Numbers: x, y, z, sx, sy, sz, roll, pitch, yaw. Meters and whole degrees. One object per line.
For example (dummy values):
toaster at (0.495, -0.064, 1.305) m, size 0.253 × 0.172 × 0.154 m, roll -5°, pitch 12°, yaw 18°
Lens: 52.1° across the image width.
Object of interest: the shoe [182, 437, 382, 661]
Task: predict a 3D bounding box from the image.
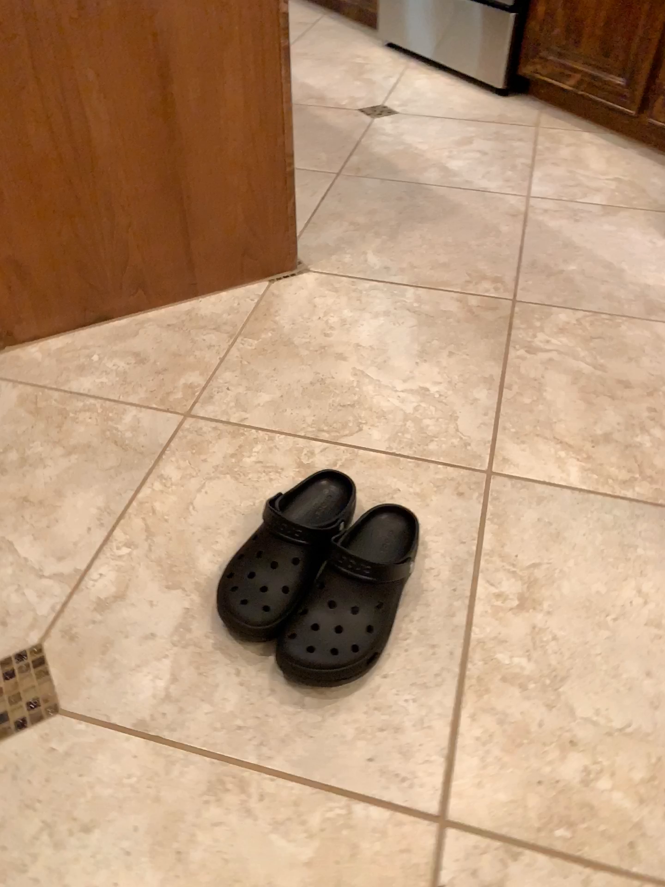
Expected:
shoe at (-0.054, 0.125, 0.885) m, size 0.114 × 0.085 × 0.279 m, roll 23°, pitch 49°, yaw 22°

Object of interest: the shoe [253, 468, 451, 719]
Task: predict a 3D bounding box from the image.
shoe at (0.033, 0.170, 0.836) m, size 0.124 × 0.085 × 0.279 m, roll 20°, pitch 48°, yaw 20°
